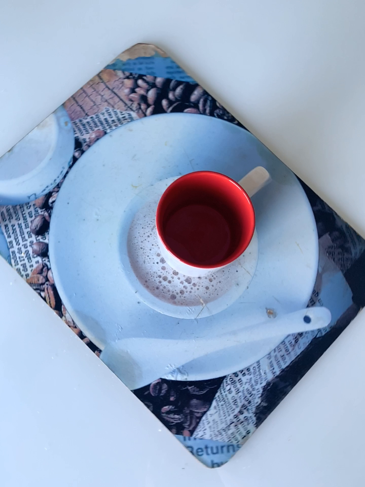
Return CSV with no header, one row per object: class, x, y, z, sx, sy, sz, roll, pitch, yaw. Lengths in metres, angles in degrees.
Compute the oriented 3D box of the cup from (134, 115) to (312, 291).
cup,0.030,-0.027,0.346,0.117,0.115,0.077,-43,85,-8
